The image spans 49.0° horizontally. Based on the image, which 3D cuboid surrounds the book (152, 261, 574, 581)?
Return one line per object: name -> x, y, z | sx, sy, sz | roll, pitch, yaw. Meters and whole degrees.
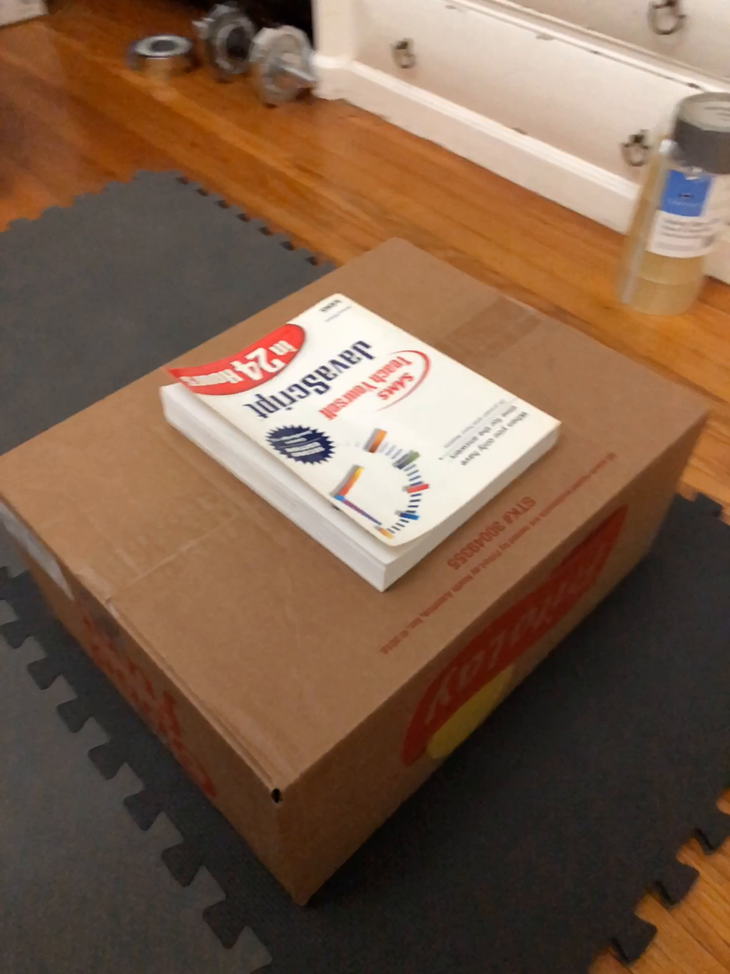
book -> -0.003, -0.068, 0.603 | 0.241, 0.030, 0.201 | 36, 58, 27
